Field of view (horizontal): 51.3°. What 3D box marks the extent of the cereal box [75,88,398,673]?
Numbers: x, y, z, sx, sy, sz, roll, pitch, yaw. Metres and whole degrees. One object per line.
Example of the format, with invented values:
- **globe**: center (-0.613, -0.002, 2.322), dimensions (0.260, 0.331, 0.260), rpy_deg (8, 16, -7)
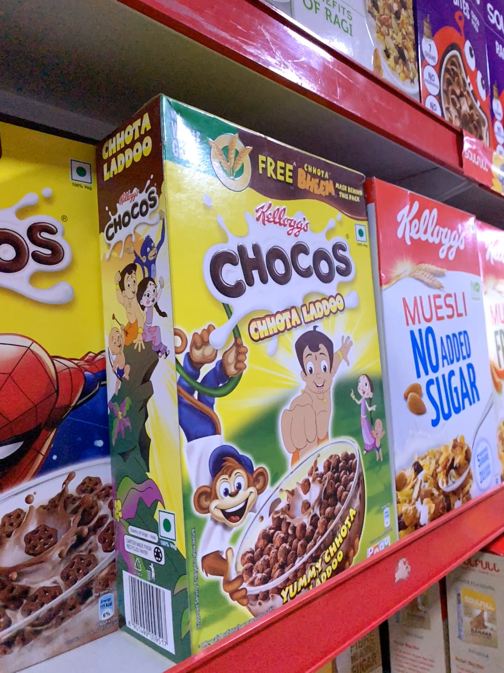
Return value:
- **cereal box**: center (0.000, 0.019, 0.318), dimensions (0.070, 0.260, 0.180), rpy_deg (-9, -6, 43)
